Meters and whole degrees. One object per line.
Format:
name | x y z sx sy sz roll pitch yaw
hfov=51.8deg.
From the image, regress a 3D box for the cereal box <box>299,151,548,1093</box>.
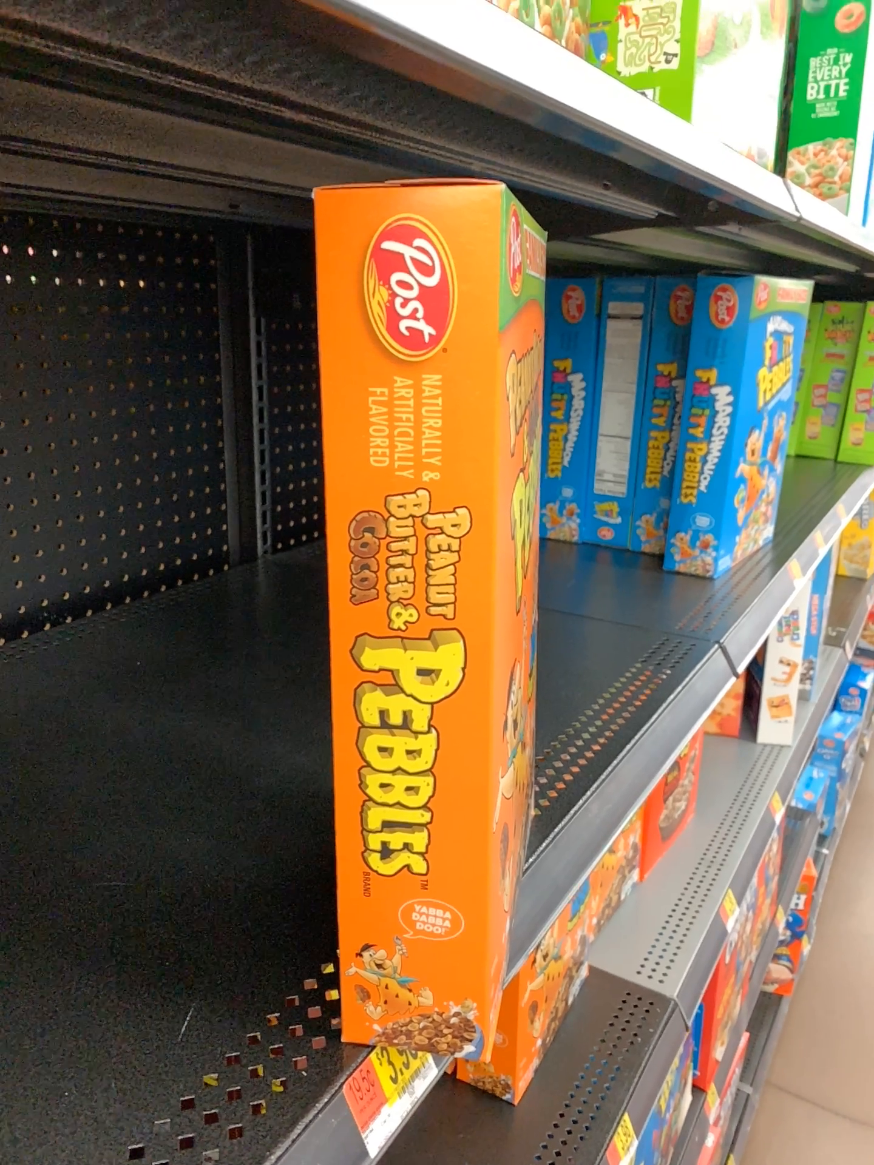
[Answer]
cereal box | 0.008 0.008 0.405 0.060 0.339 0.201 3 17 10
